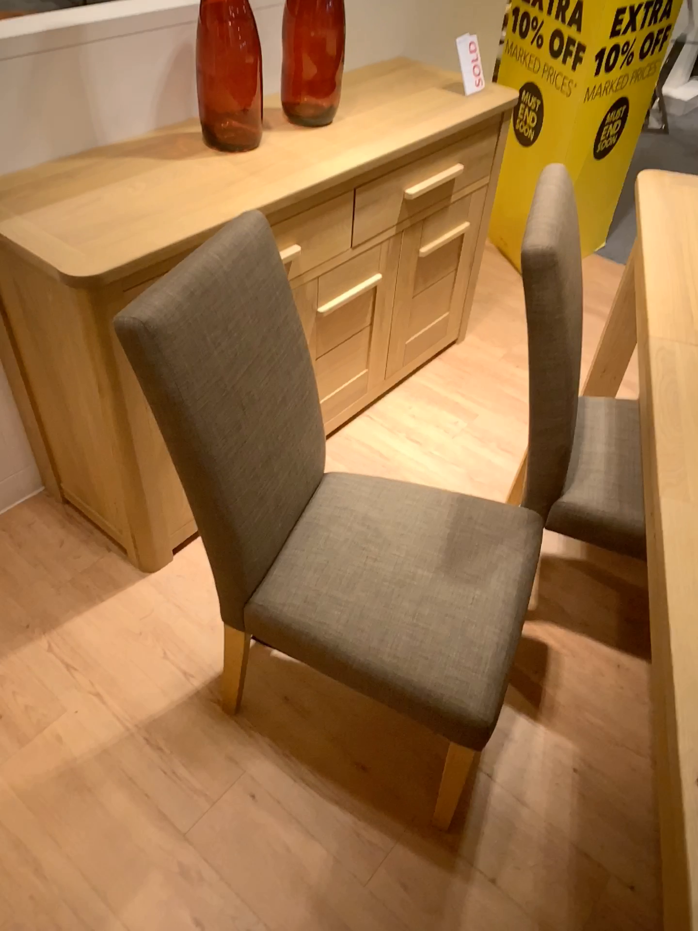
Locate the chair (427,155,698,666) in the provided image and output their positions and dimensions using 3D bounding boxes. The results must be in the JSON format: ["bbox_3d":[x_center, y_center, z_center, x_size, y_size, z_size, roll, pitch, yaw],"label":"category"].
[{"bbox_3d":[0.504,-0.093,1.393,0.504,0.765,0.501,14,44,10],"label":"chair"}]

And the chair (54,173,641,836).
[{"bbox_3d":[0.017,0.094,1.203,0.604,0.884,0.511,18,45,13],"label":"chair"}]
